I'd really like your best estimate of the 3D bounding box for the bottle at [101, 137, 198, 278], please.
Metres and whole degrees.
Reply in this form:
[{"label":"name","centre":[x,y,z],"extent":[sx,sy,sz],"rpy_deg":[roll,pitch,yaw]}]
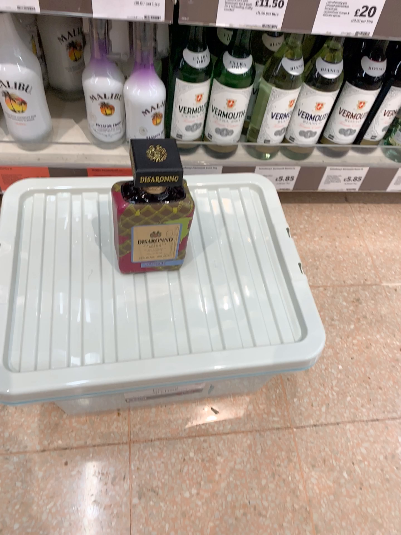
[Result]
[{"label":"bottle","centre":[-0.069,-0.069,0.536],"extent":[0.100,0.199,0.060],"rpy_deg":[-5,58,-12]}]
